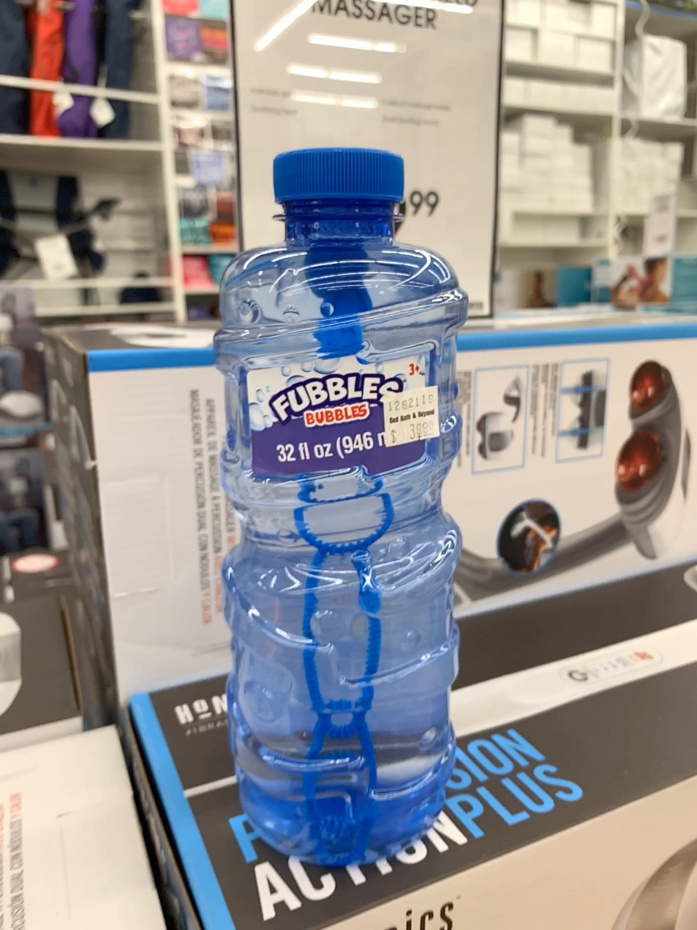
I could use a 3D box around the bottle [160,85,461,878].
[{"bbox_3d":[-0.005,0.010,0.261,0.080,0.243,0.081,-2,12,0],"label":"bottle"}]
